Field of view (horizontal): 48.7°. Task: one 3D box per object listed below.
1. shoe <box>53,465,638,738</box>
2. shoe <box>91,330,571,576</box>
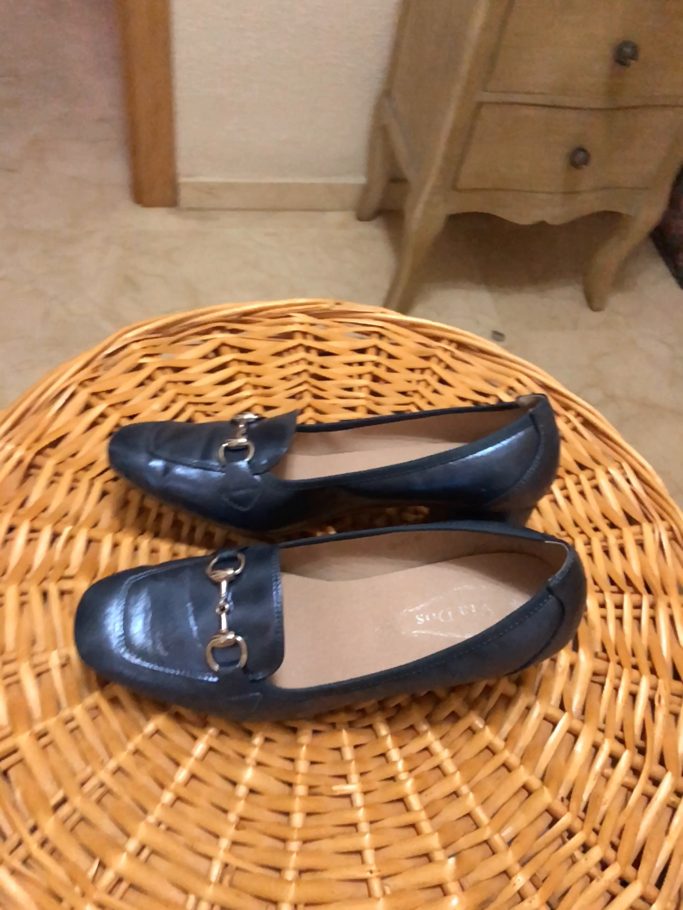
[{"bbox_3d":[0.002,0.079,0.398,0.260,0.090,0.090,-5,48,3],"label":"shoe"},{"bbox_3d":[-0.002,0.001,0.455,0.250,0.090,0.100,-3,47,7],"label":"shoe"}]
